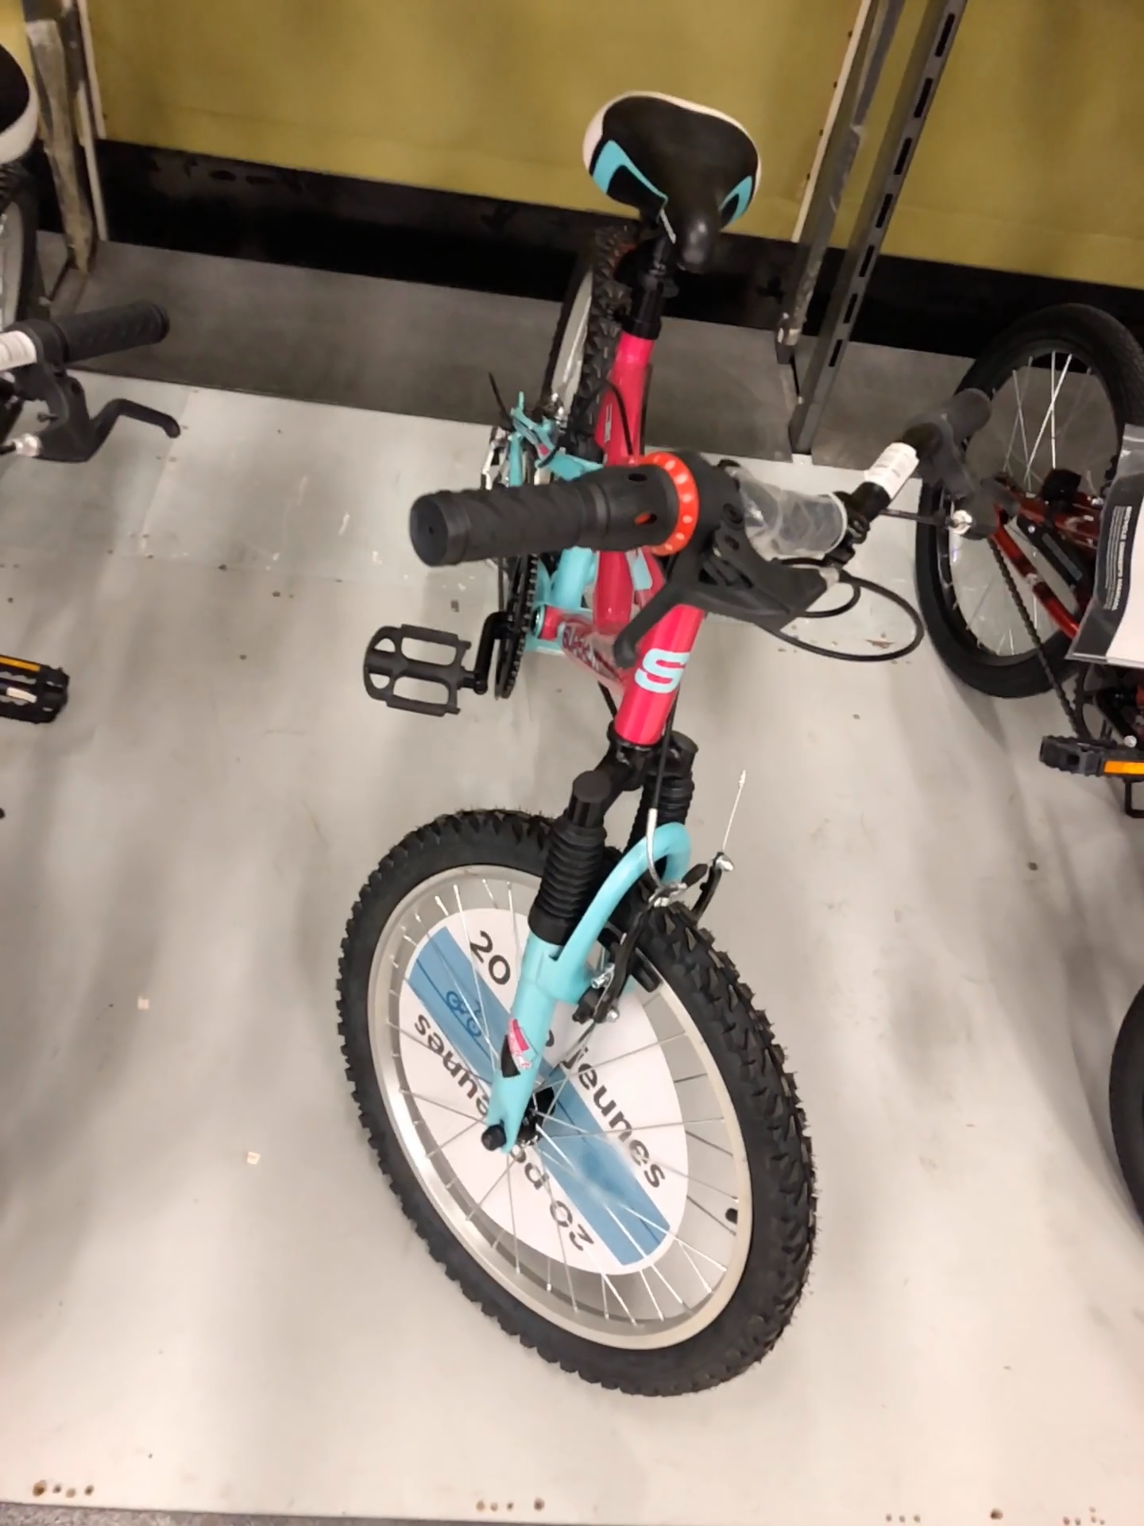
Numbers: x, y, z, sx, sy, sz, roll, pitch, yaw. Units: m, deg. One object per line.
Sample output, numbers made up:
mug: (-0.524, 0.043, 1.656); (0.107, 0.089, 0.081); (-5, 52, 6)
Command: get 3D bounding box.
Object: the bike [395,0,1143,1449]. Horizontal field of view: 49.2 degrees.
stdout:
bike: (0.148, -0.137, 1.153); (0.563, 0.764, 1.220); (1, 55, -10)
